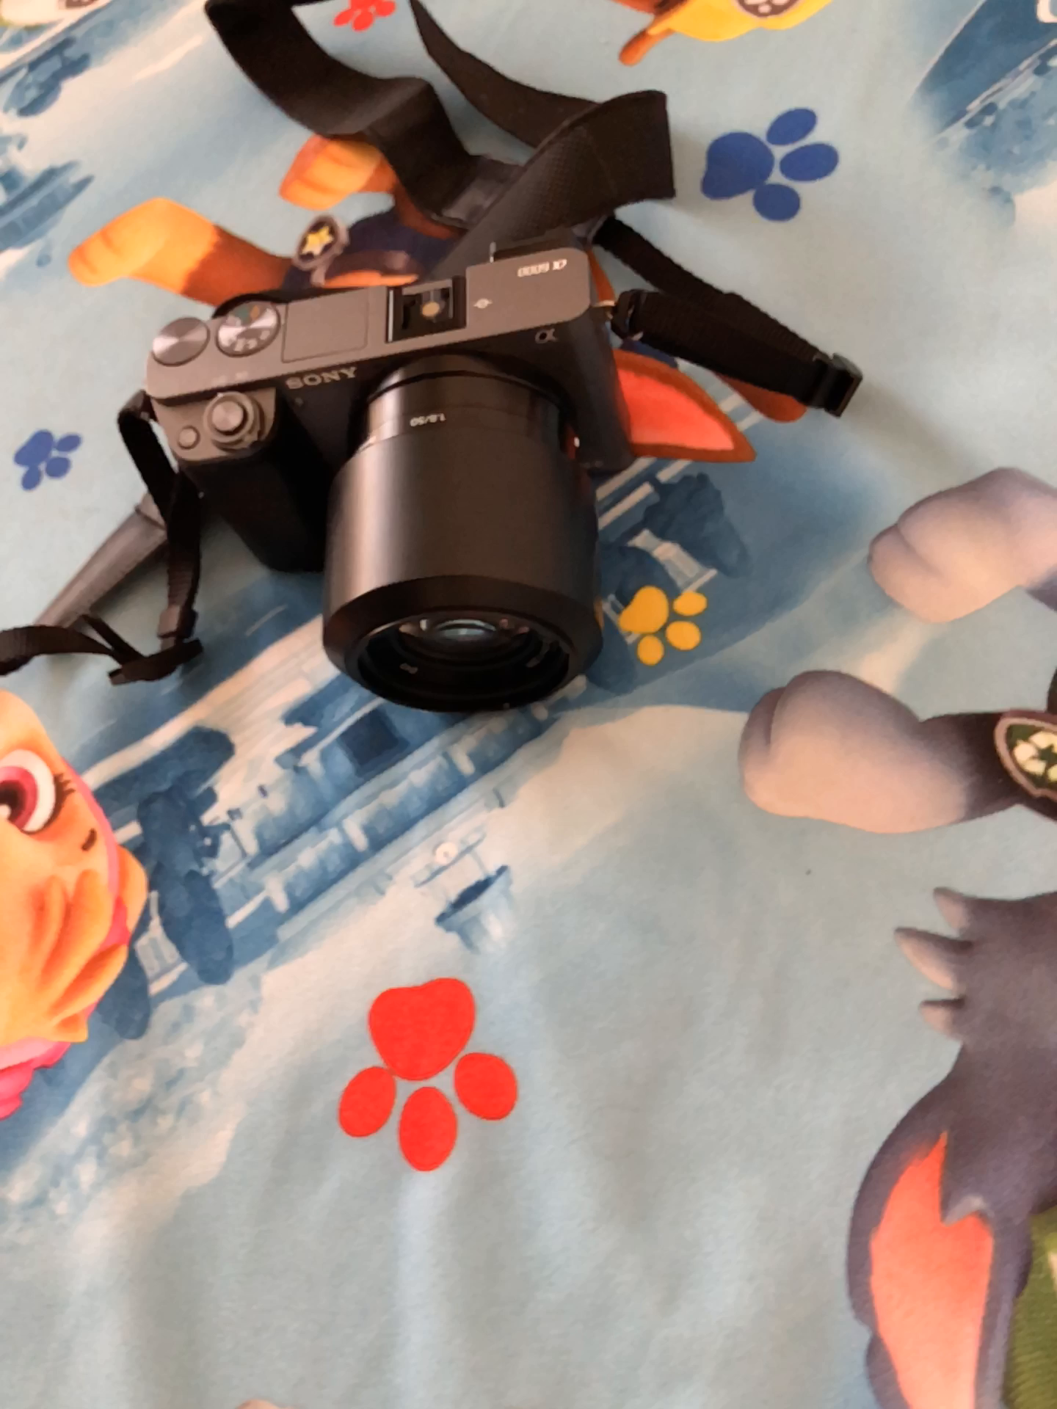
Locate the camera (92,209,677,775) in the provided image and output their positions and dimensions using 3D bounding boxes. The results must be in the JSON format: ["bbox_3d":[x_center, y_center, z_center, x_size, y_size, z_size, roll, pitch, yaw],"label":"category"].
[{"bbox_3d":[-0.033,-0.053,0.328,0.130,0.080,0.110,-8,63,13],"label":"camera"}]
